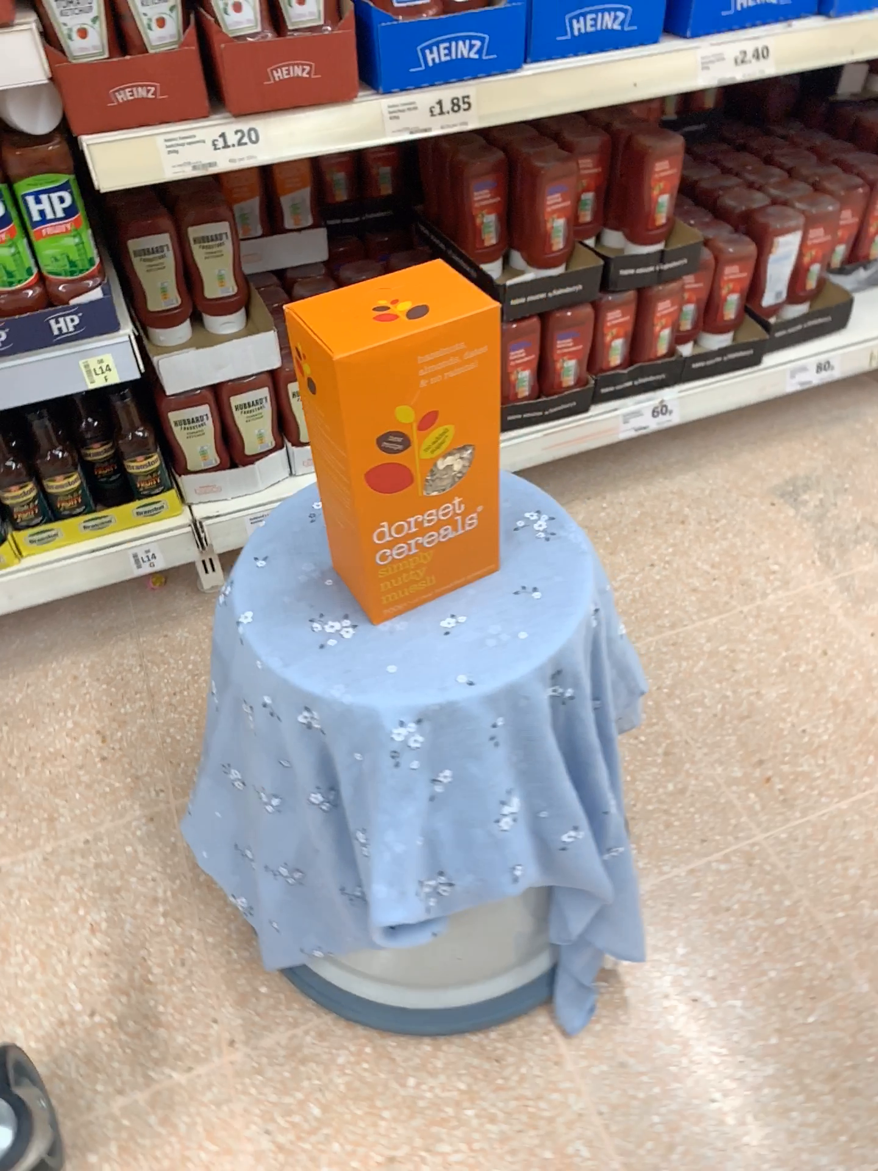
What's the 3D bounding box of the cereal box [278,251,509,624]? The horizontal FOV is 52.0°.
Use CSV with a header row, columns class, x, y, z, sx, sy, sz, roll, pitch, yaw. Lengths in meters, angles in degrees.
class,x,y,z,sx,sy,sz,roll,pitch,yaw
cereal box,-0.026,-0.101,0.656,0.120,0.228,0.091,-24,48,-20
